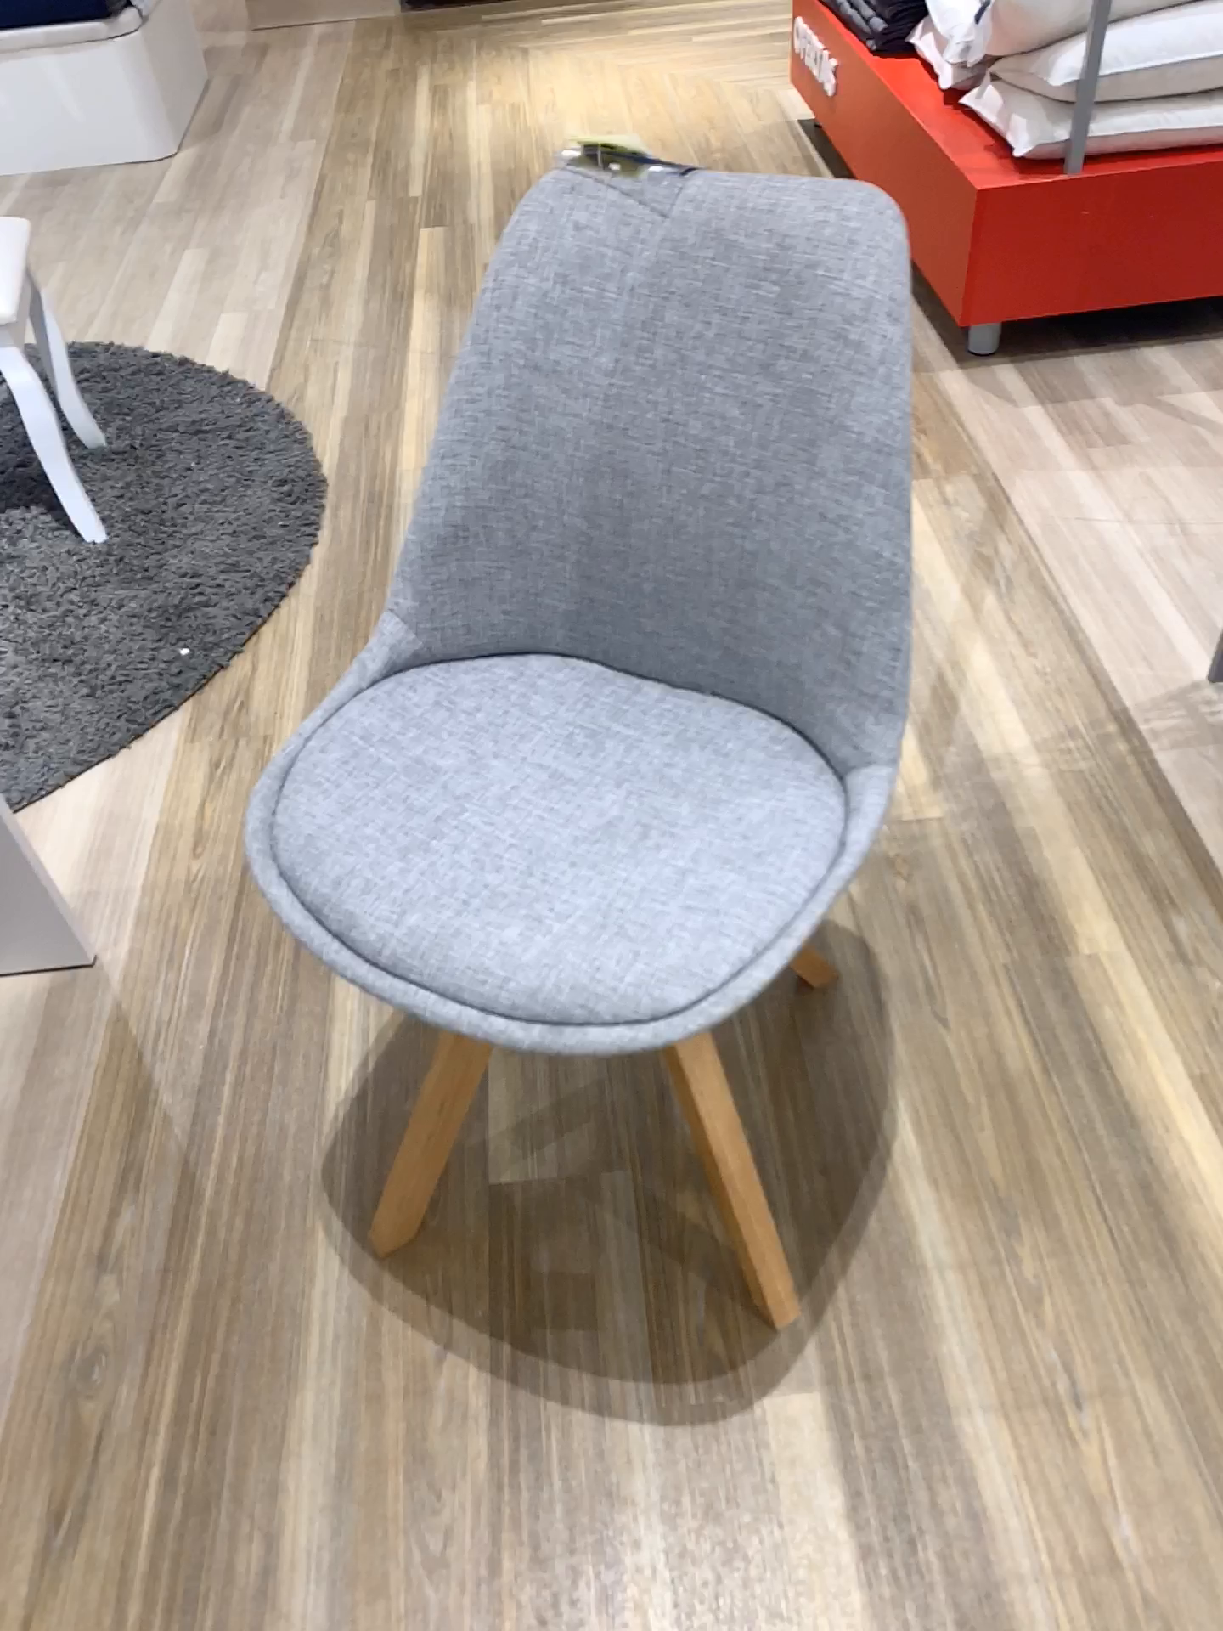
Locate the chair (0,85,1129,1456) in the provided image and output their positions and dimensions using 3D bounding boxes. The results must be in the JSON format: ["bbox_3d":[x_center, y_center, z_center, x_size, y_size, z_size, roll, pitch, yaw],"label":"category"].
[{"bbox_3d":[-0.005,-0.007,0.977,0.514,0.855,0.517,17,50,22],"label":"chair"}]
